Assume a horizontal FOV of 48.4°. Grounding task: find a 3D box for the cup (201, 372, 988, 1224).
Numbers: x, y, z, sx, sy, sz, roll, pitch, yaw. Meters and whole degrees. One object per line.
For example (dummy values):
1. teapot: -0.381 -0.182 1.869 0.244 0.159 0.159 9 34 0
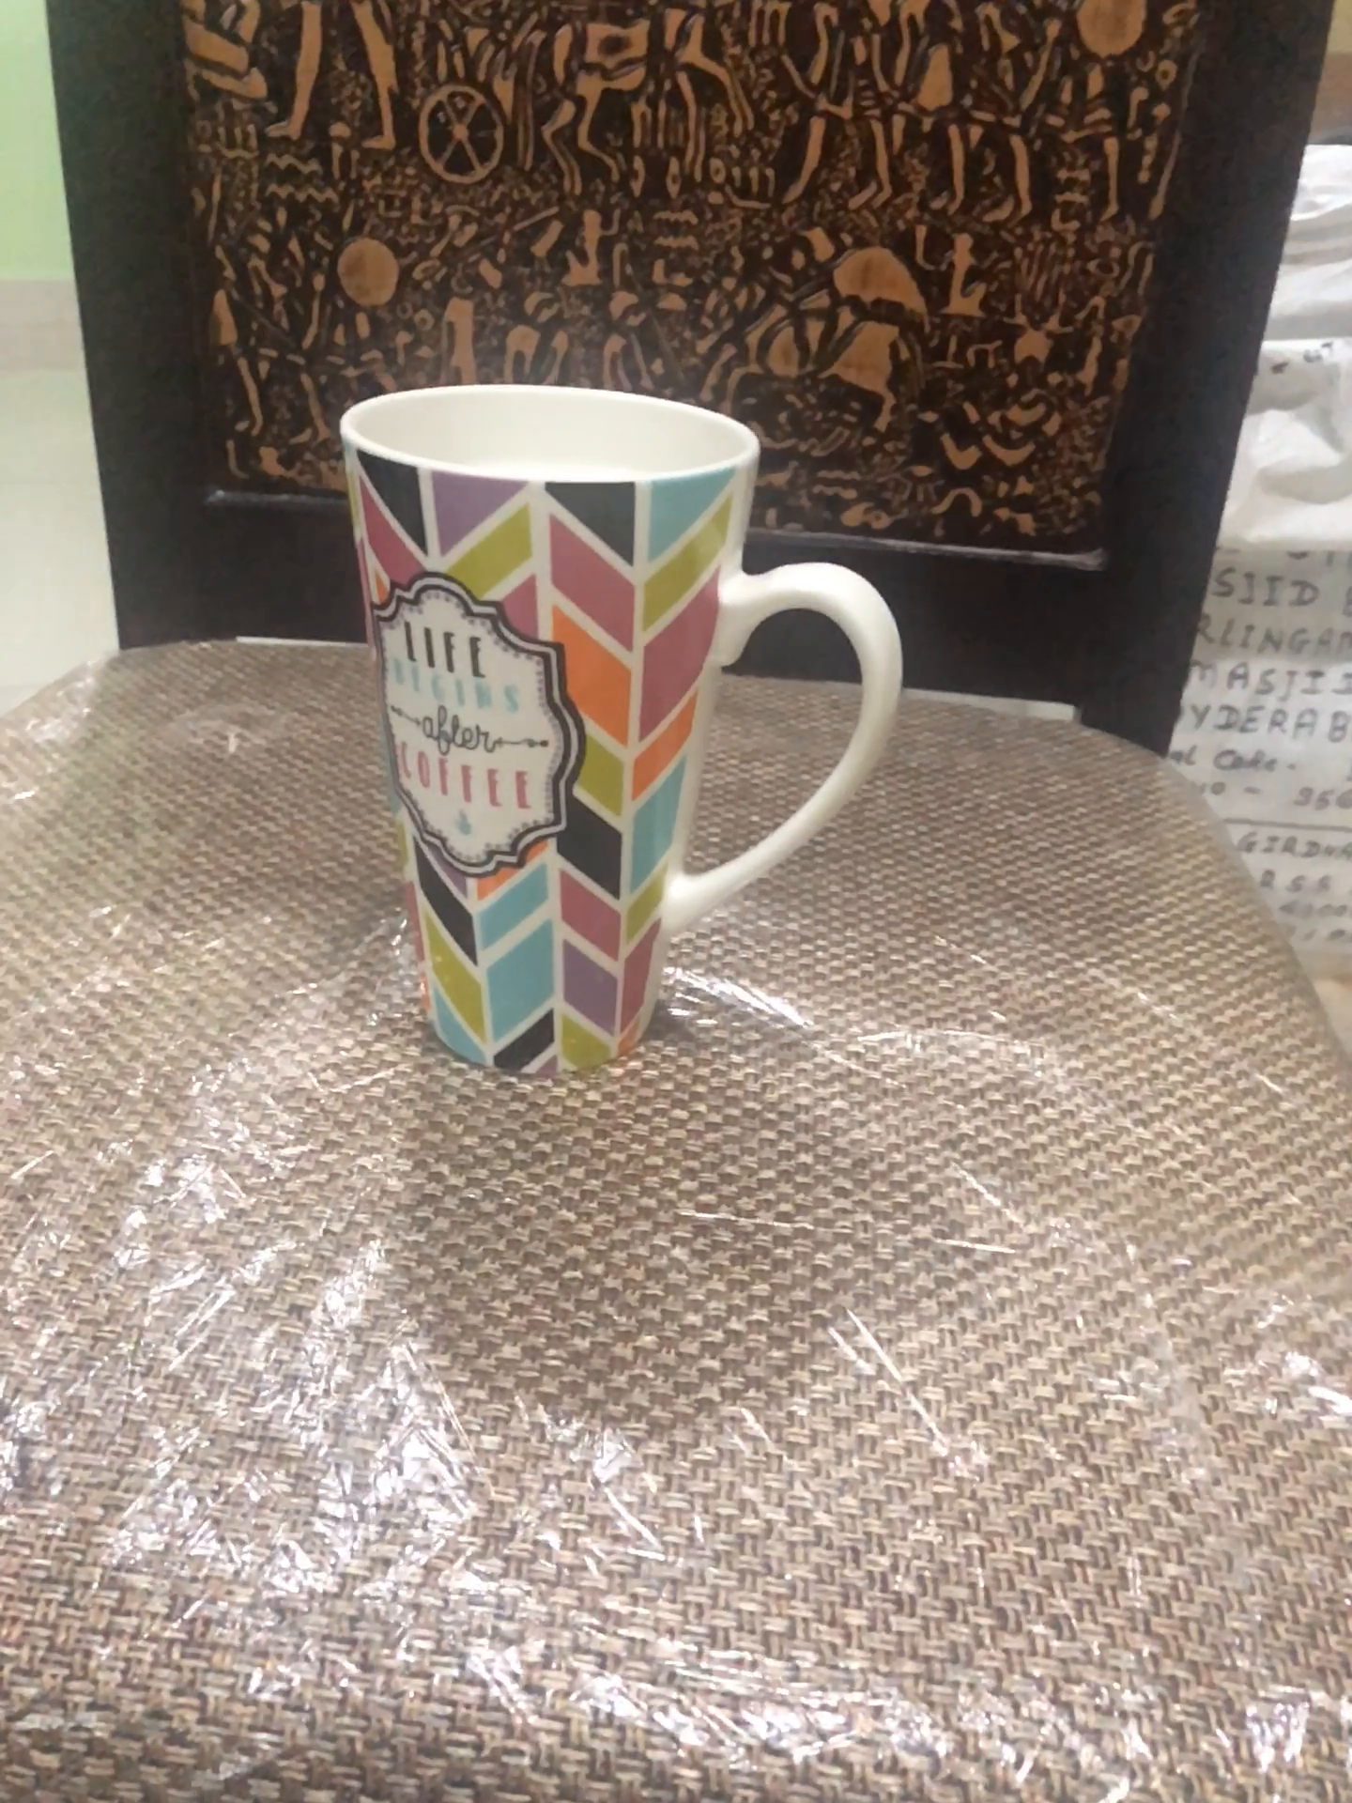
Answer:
1. cup: -0.017 -0.031 0.333 0.130 0.139 0.090 16 30 21
